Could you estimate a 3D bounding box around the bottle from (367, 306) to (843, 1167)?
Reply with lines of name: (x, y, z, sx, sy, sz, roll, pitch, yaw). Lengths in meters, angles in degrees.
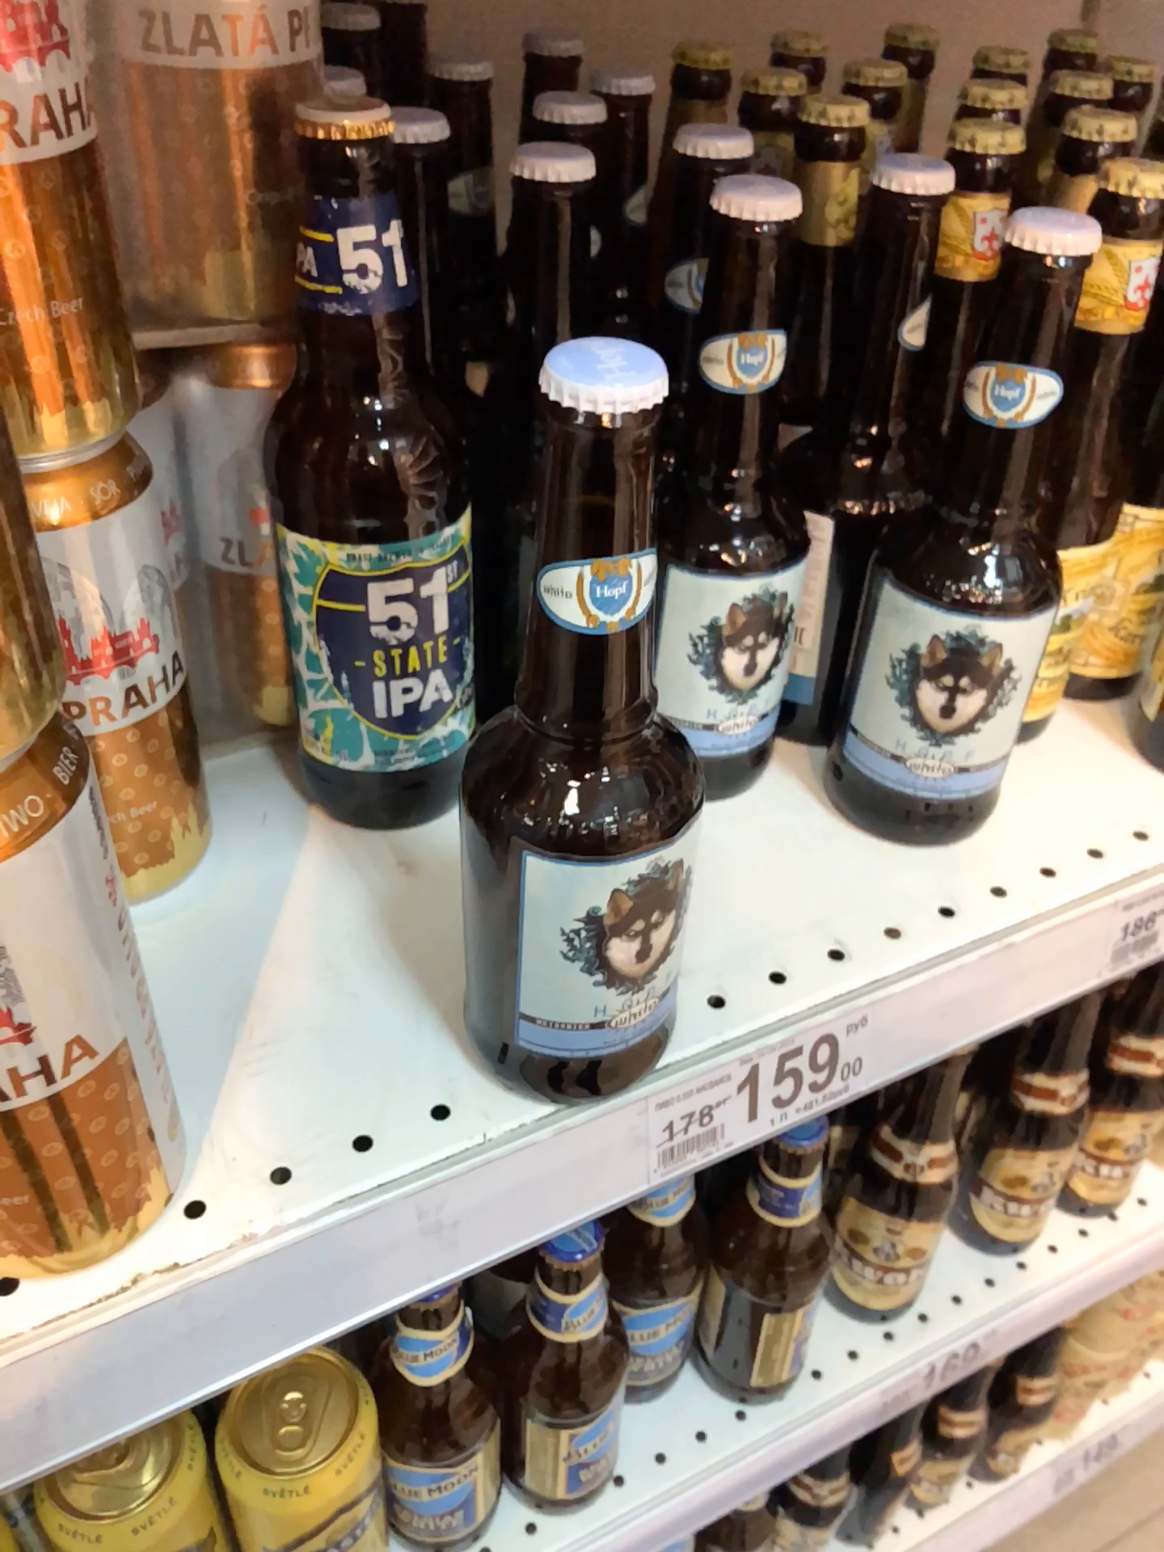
bottle: (-0.002, -0.002, 0.353, 0.080, 0.219, 0.070, -20, 44, -28)
